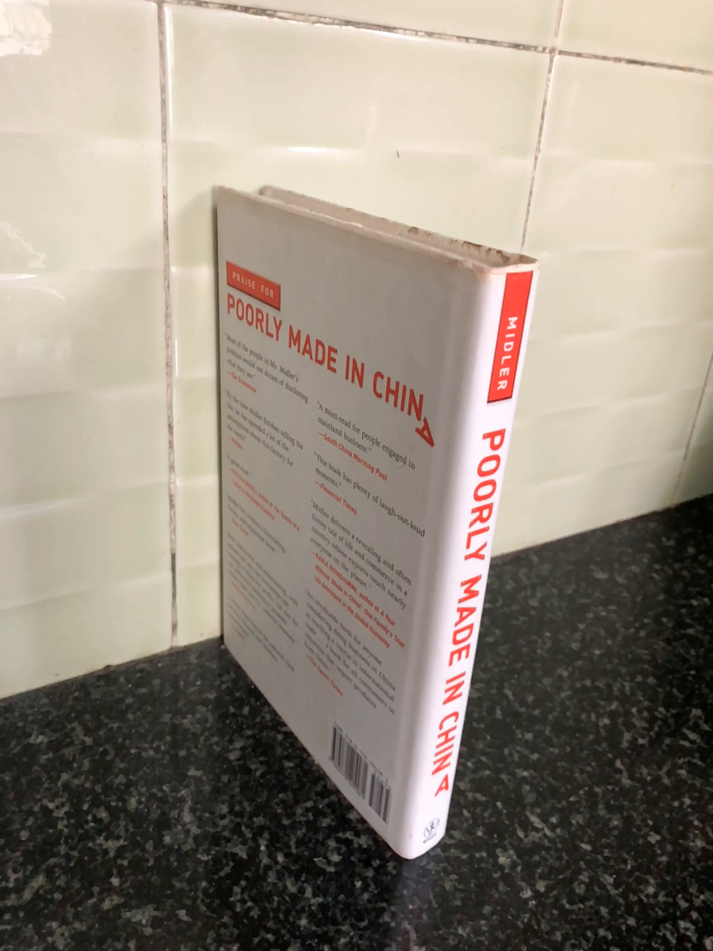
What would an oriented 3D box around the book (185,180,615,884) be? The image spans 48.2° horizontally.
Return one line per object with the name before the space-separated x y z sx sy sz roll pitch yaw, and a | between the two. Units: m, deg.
book | -0.009 0.009 0.323 0.040 0.219 0.190 -13 31 -34
